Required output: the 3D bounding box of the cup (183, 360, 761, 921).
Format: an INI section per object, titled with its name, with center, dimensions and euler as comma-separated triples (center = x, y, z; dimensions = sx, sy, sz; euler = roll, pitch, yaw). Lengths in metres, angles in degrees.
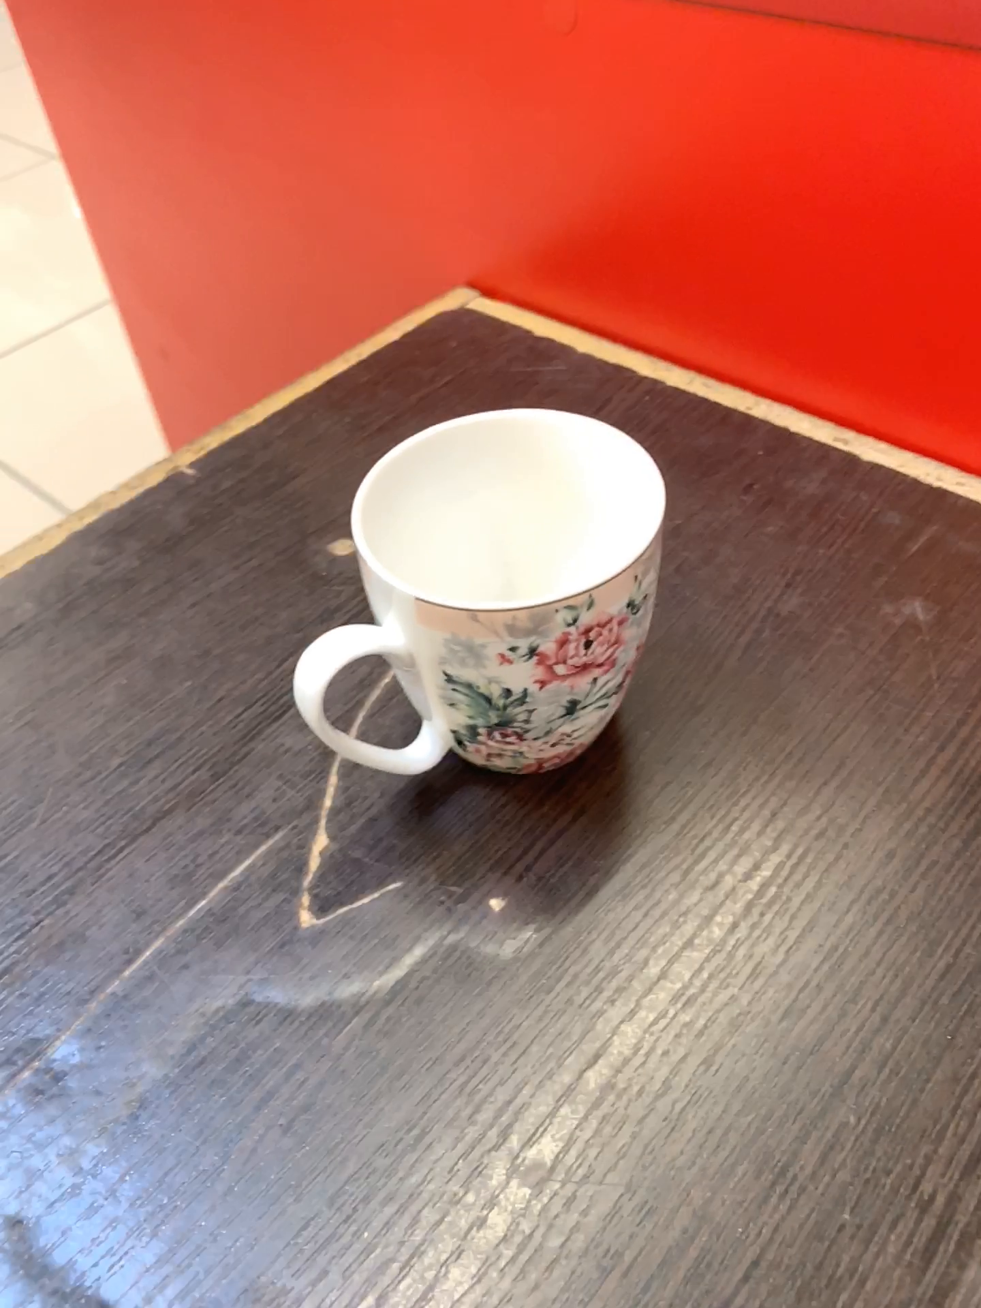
[cup]
center = -0.002, -0.009, 0.264
dimensions = 0.110, 0.070, 0.080
euler = -34, 52, -24
